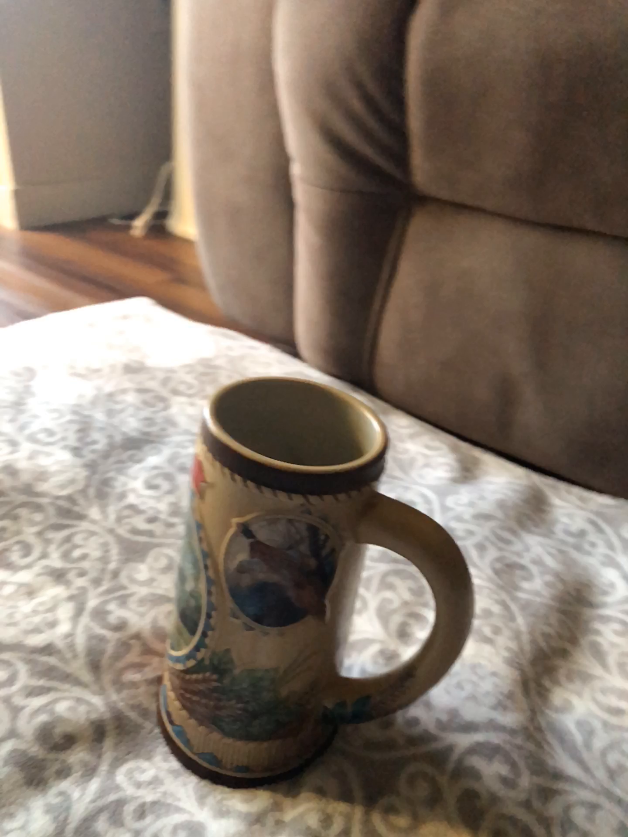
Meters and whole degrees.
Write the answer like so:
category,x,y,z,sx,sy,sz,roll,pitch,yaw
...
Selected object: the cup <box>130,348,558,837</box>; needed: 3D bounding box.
category,x,y,z,sx,sy,sz,roll,pitch,yaw
cup,0.007,0.090,0.336,0.144,0.188,0.099,21,31,14
